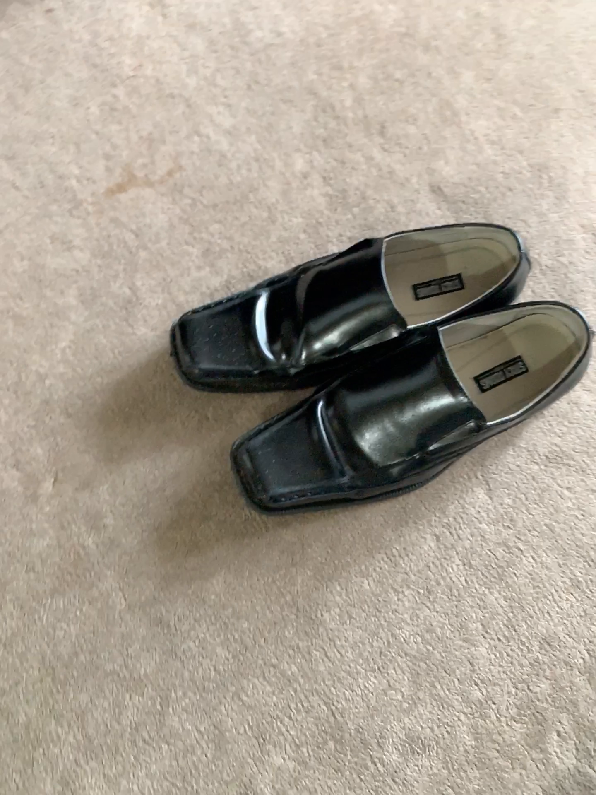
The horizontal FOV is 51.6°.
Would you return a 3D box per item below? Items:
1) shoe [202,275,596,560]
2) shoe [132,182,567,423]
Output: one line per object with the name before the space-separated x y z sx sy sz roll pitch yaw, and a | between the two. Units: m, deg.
shoe | 0.093 0.023 0.520 0.310 0.120 0.110 -21 78 -4
shoe | 0.038 -0.074 0.535 0.320 0.120 0.110 -12 77 -1
